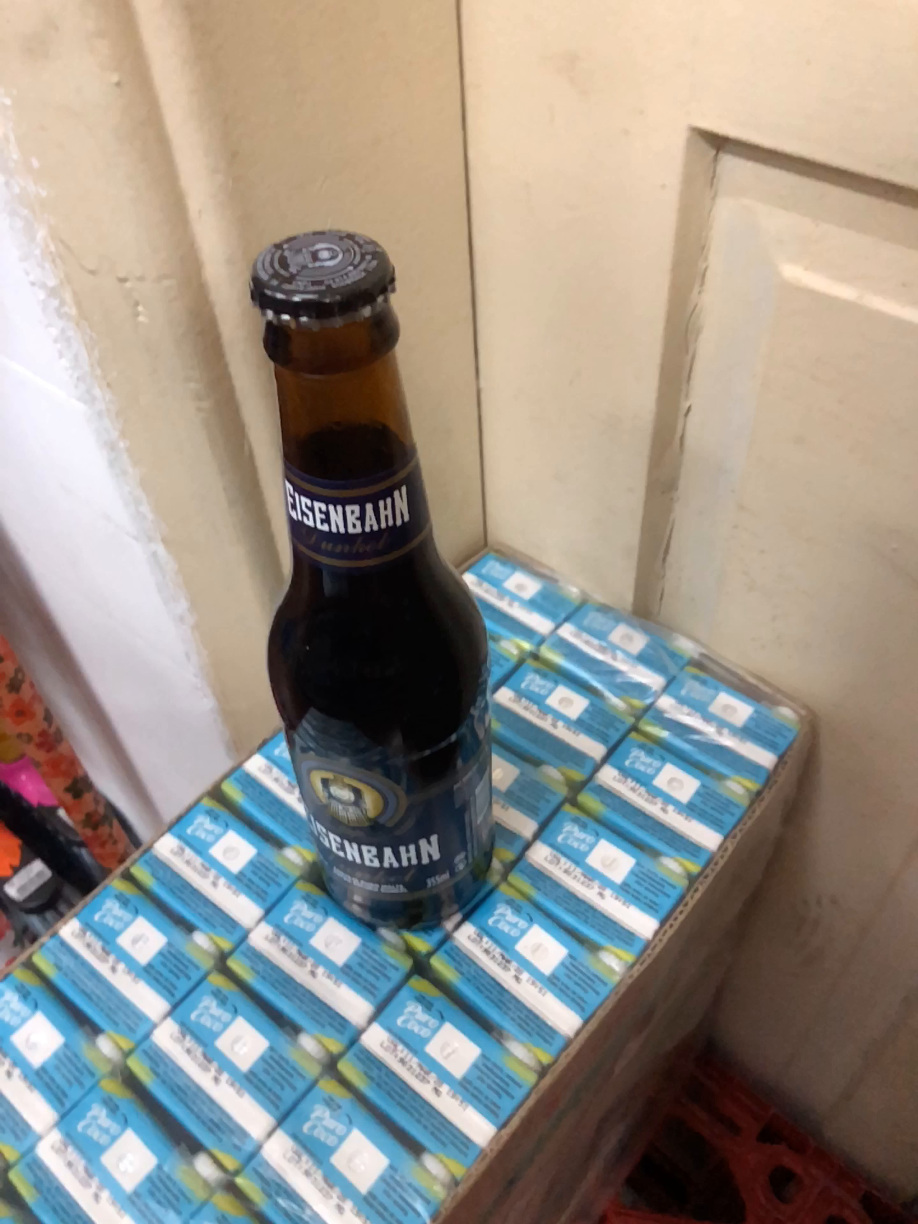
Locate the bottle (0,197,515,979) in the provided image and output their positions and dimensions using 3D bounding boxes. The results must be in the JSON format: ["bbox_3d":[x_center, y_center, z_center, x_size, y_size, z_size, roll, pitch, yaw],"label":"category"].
[{"bbox_3d":[-0.030,0.012,0.252,0.070,0.199,0.060,15,52,16],"label":"bottle"}]
